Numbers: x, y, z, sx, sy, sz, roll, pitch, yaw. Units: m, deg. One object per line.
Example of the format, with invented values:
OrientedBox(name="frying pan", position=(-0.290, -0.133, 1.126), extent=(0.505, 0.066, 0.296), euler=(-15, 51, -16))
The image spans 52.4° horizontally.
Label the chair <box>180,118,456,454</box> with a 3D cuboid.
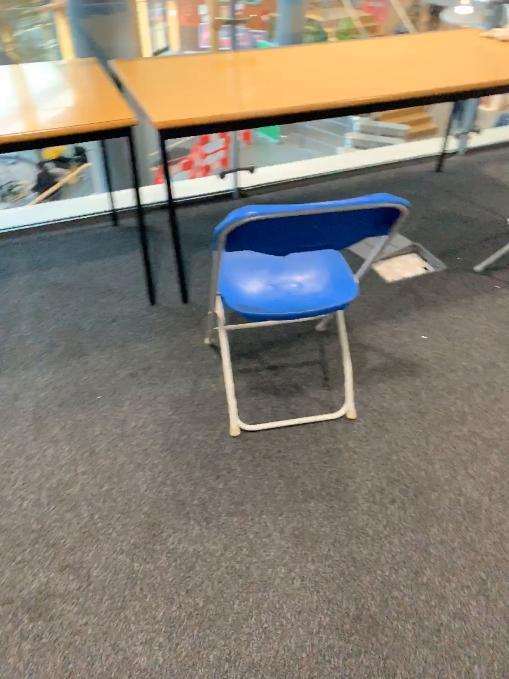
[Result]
OrientedBox(name="chair", position=(0.104, -0.156, 1.474), extent=(0.530, 0.713, 0.555), euler=(-6, 42, -8))
